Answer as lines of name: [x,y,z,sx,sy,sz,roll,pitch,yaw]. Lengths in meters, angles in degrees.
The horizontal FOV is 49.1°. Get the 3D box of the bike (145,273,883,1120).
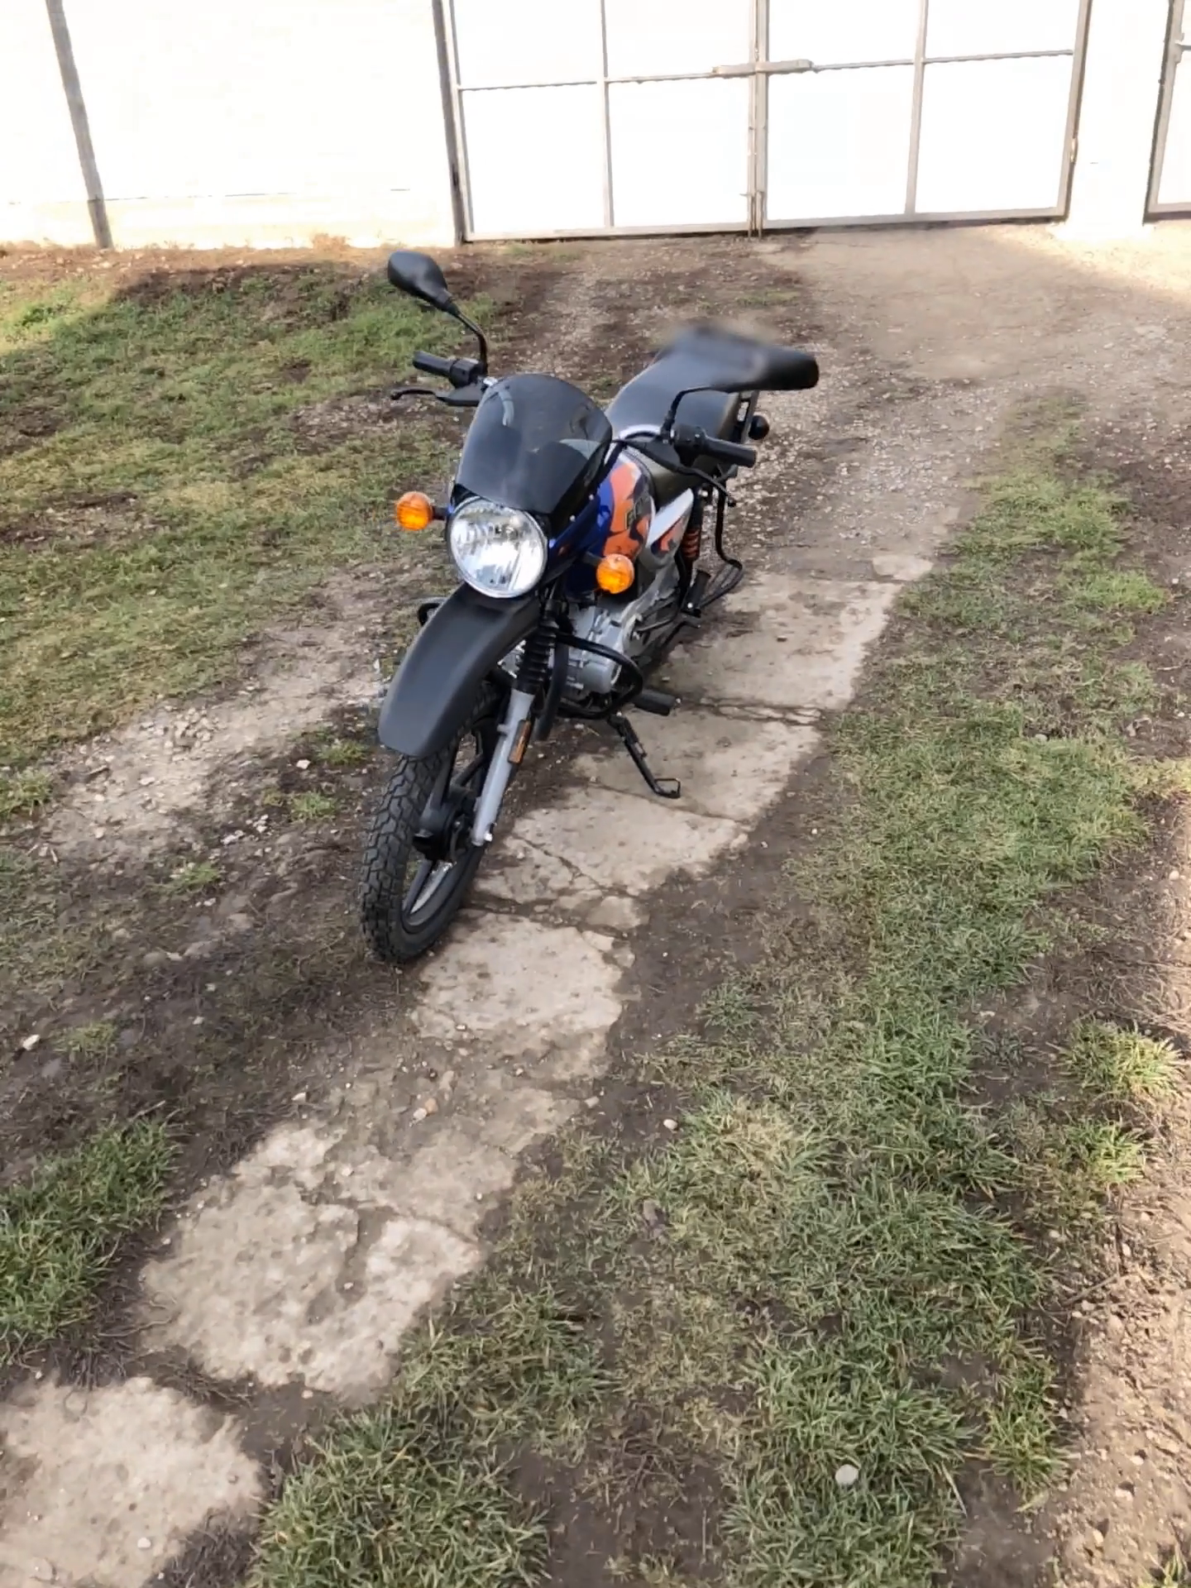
bike: [0.019,-0.398,2.870,0.806,1.049,1.791,9,34,19]
